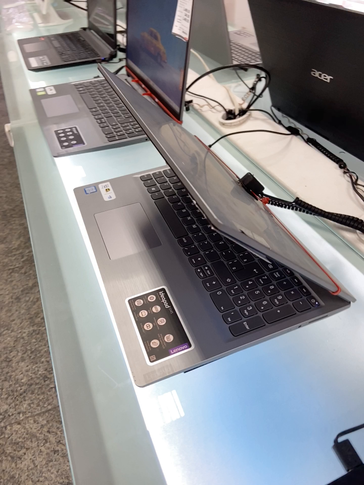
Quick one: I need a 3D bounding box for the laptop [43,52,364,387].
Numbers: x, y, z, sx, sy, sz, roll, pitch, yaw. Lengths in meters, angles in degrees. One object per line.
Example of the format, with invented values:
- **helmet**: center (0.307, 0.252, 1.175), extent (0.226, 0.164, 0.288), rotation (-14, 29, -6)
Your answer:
- **laptop**: center (0.001, -0.073, 0.455), extent (0.246, 0.167, 0.363), rotation (-17, 44, -15)
